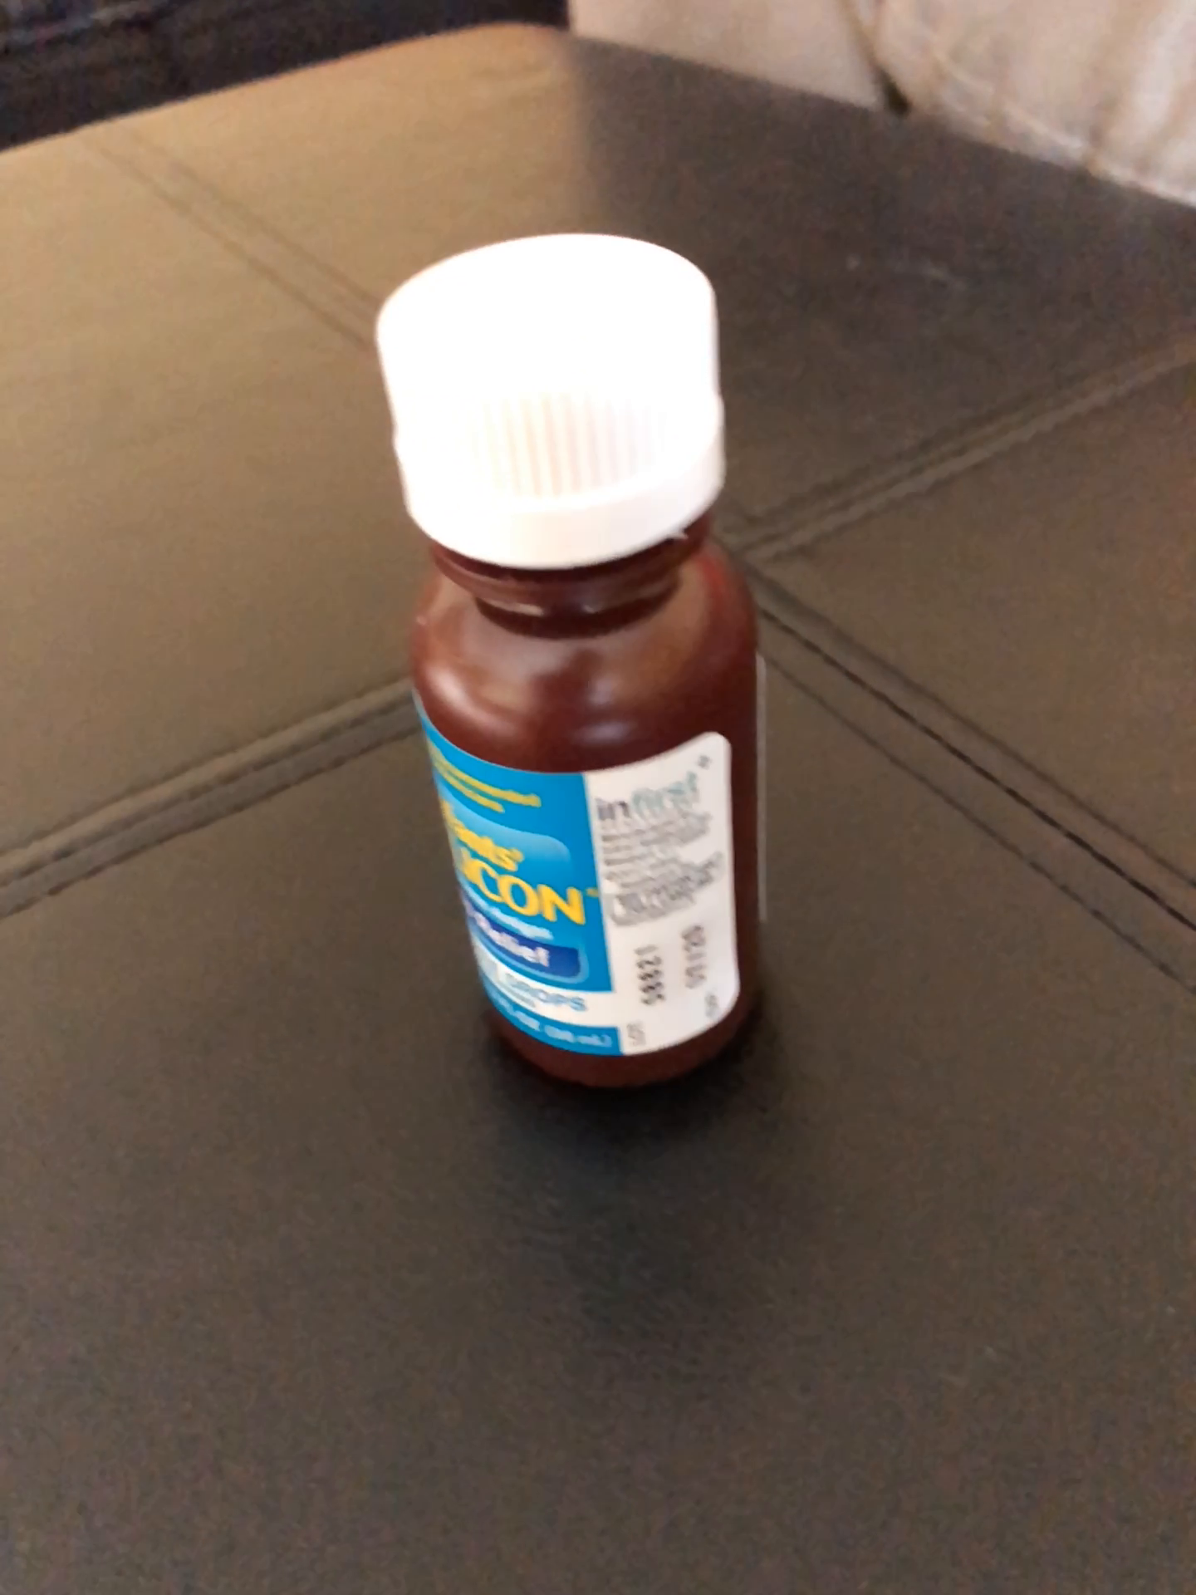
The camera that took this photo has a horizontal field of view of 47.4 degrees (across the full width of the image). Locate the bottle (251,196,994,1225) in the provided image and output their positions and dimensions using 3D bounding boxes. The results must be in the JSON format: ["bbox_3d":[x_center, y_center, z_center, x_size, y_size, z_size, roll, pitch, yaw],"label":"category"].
[{"bbox_3d":[0.005,-0.006,0.130,0.040,0.080,0.040,-4,42,4],"label":"bottle"}]
